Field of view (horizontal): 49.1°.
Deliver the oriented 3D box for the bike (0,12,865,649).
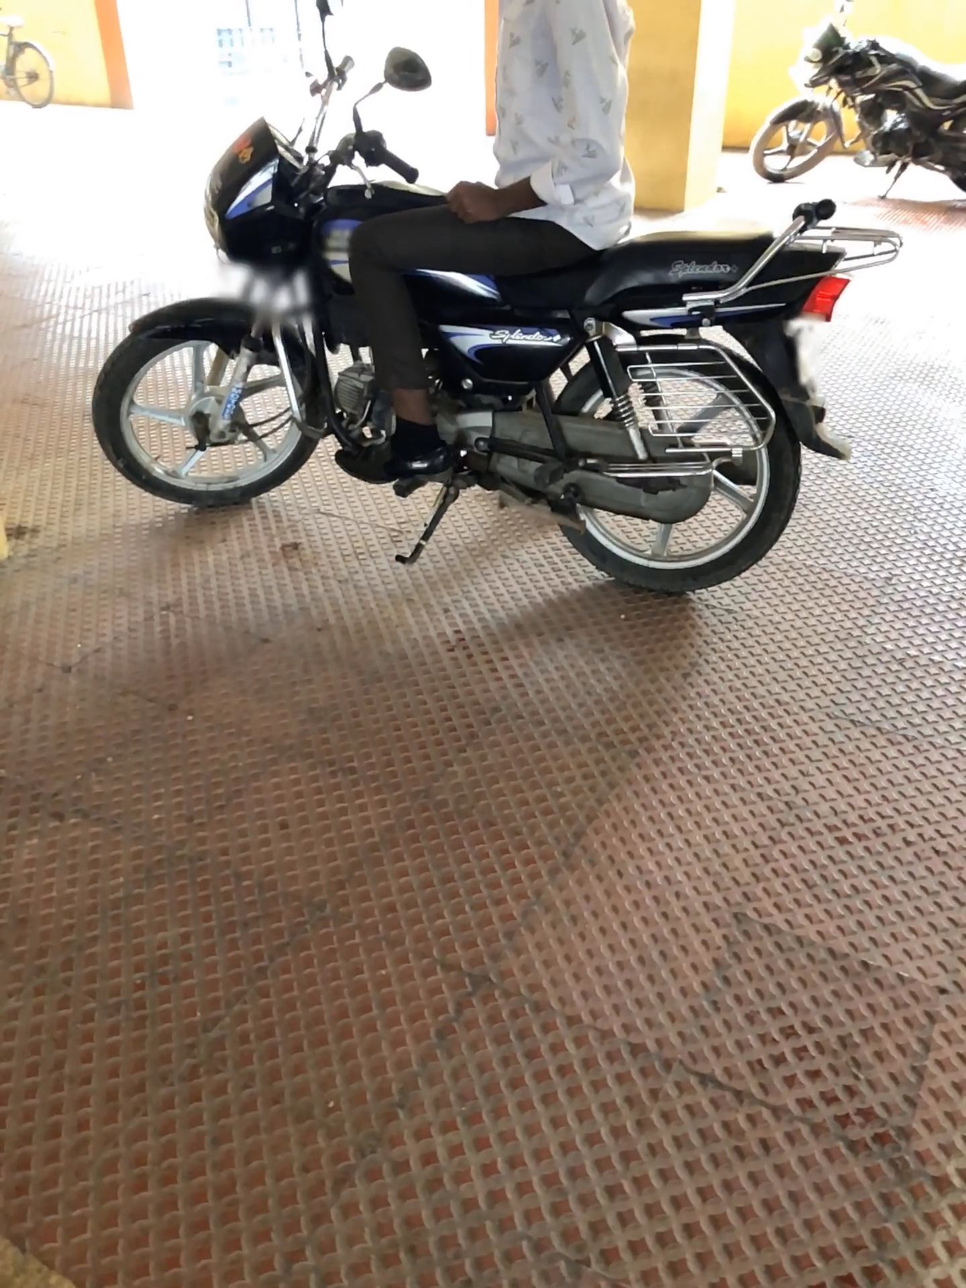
[{"bbox_3d":[-0.085,-0.786,2.501,1.705,1.107,0.688,9,34,12],"label":"bike"}]
